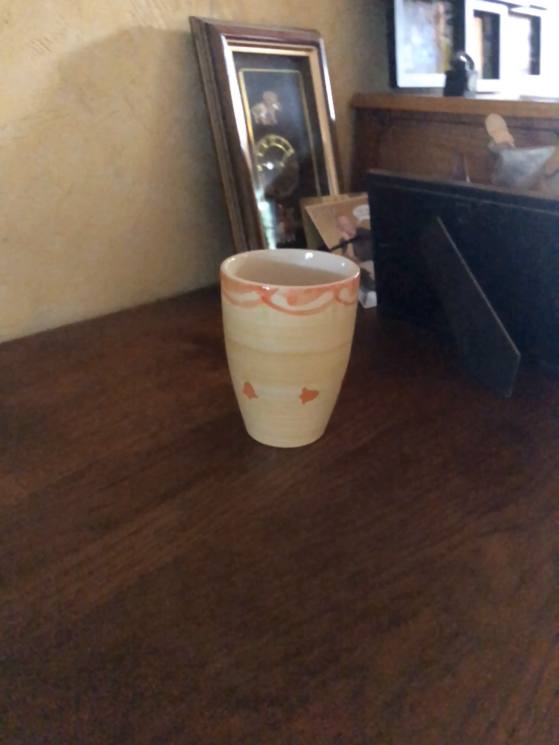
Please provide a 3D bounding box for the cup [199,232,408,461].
[{"bbox_3d":[0.020,-0.025,0.409,0.100,0.099,0.121,10,27,17],"label":"cup"}]
